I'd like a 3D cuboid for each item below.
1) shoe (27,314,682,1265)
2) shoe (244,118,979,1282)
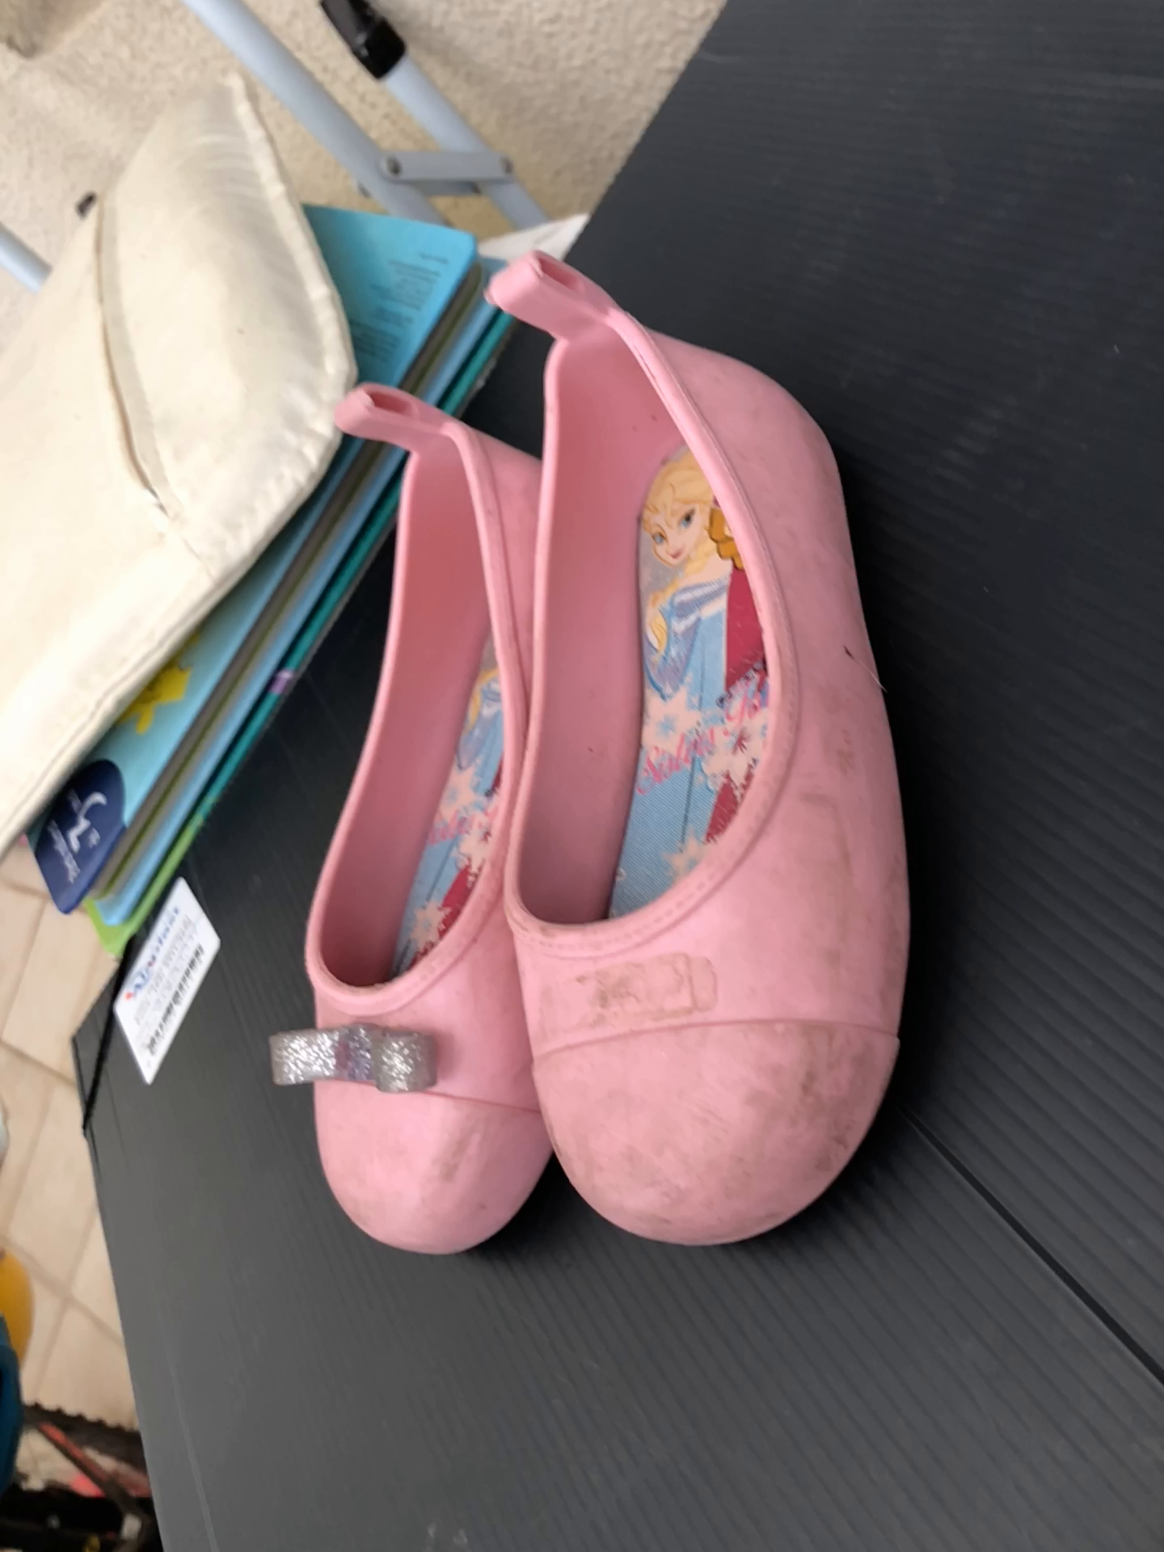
[{"bbox_3d":[-0.041,0.006,0.263,0.078,0.070,0.160,-9,66,43],"label":"shoe"},{"bbox_3d":[0.008,-0.006,0.214,0.078,0.070,0.160,-16,61,40],"label":"shoe"}]
